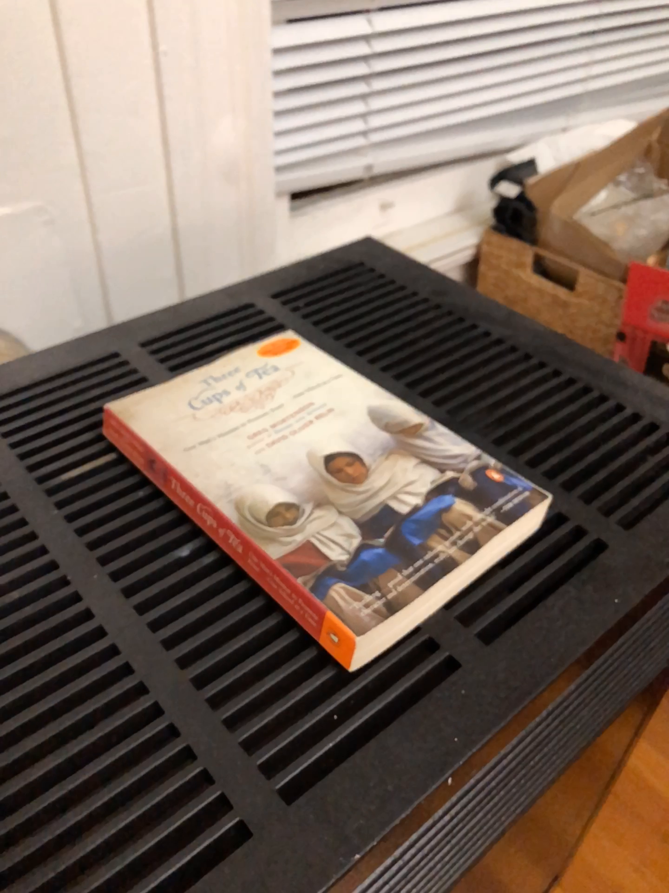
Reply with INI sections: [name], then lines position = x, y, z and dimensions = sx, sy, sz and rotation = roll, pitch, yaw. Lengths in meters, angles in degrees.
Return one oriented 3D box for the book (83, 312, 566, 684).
[book]
position = -0.013, 0.005, 0.398
dimensions = 0.140, 0.030, 0.221
rotation = -30, 48, -33
